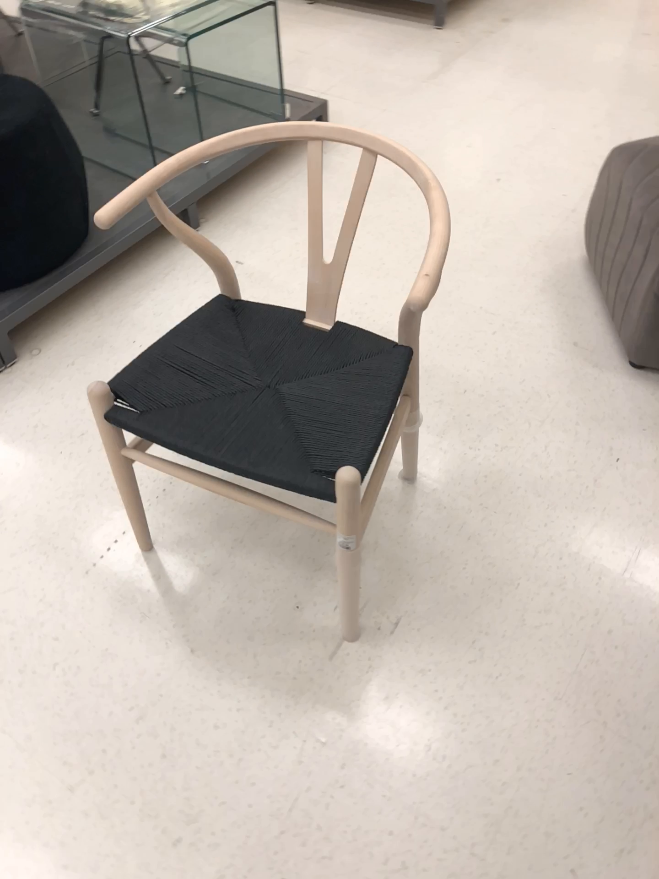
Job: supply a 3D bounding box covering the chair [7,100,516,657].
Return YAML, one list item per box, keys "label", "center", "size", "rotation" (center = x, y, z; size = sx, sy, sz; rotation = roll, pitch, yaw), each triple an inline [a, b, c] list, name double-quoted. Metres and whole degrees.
- label: "chair"
  center: [-0.065, -0.108, 1.357]
  size: [0.559, 0.728, 0.557]
  rotation: [19, 52, 19]
